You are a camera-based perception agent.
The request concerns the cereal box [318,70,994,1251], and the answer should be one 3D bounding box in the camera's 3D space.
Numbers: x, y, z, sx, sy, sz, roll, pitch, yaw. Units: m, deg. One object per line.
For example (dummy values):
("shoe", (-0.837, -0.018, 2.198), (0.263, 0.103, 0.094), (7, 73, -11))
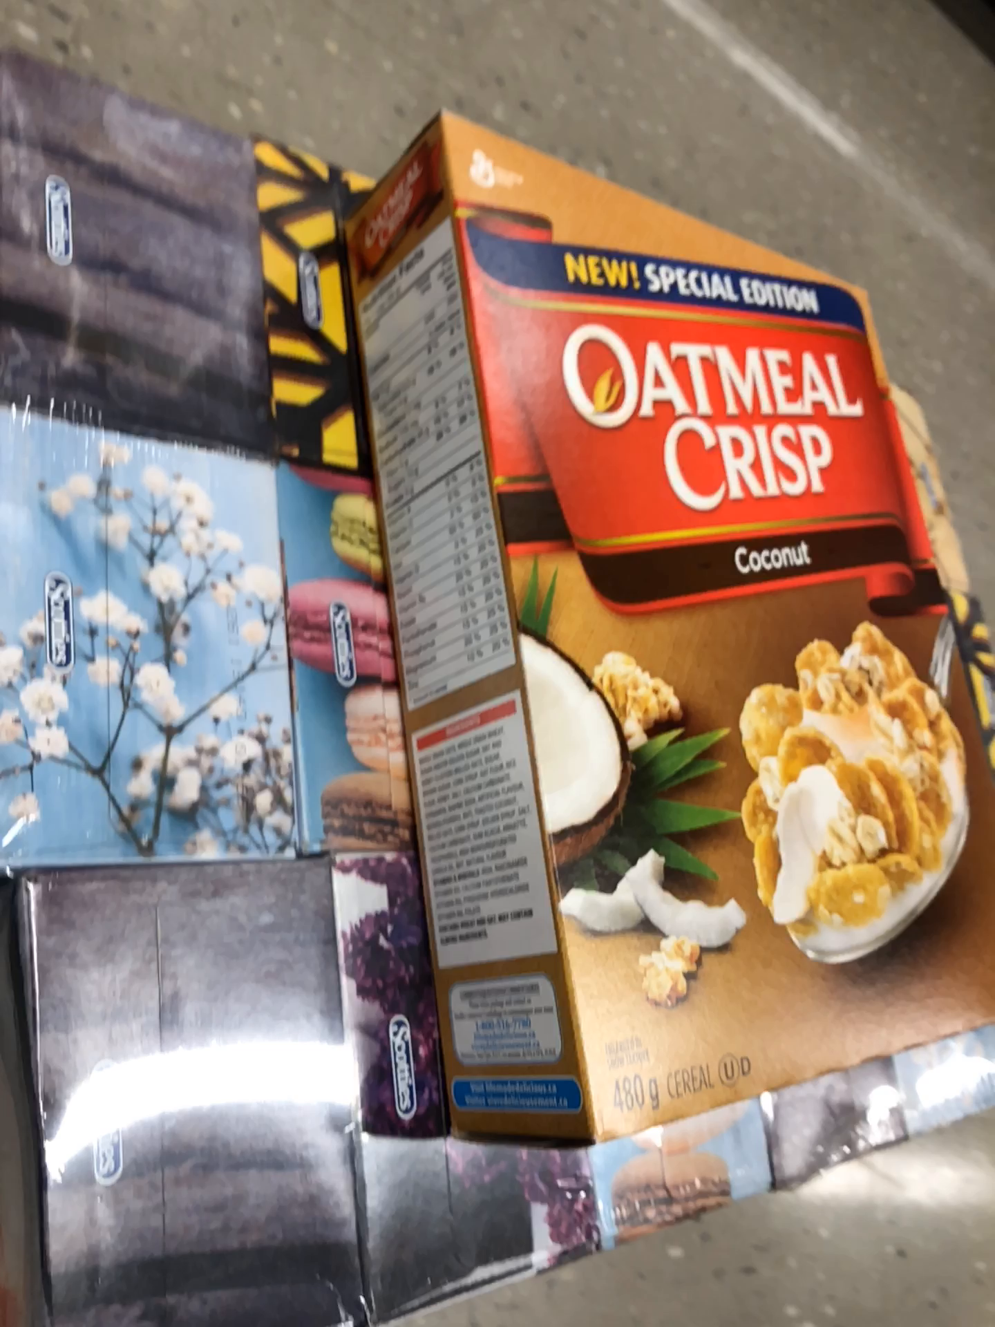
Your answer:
("cereal box", (0.066, -0.007, 0.336), (0.211, 0.060, 0.290), (6, 65, -34))
